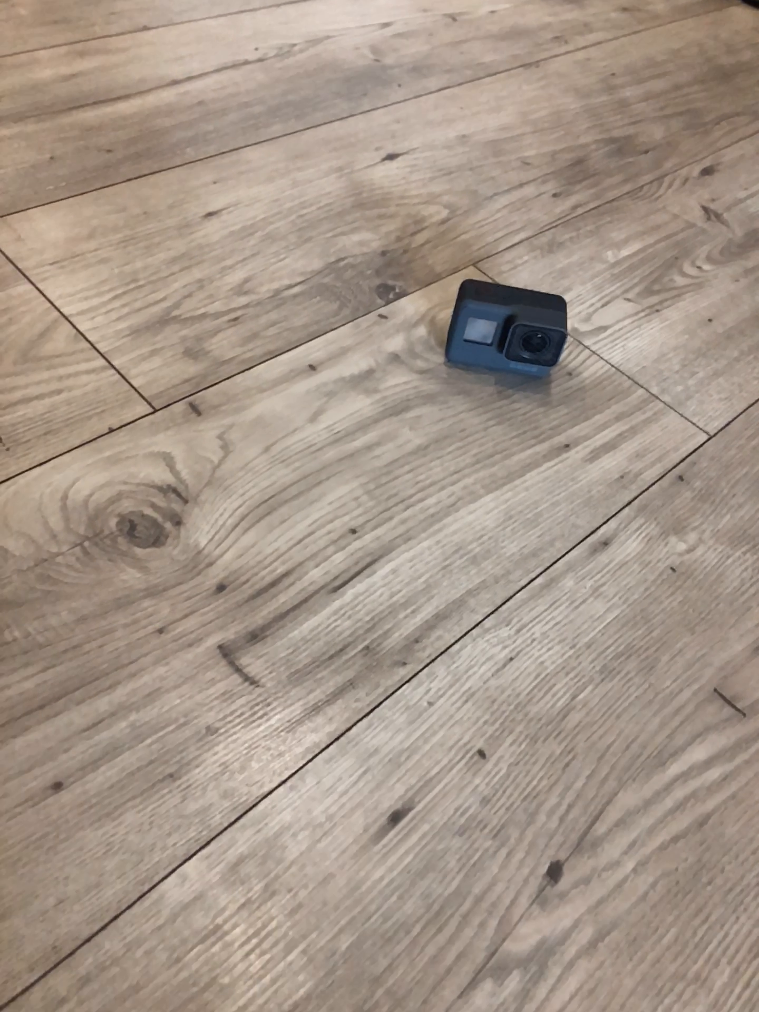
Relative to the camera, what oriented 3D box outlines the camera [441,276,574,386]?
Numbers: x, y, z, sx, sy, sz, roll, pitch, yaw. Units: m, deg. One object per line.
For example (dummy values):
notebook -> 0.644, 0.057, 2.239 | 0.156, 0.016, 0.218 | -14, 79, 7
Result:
camera -> 0.071, -0.099, 0.475 | 0.065, 0.040, 0.032 | 9, 49, -3
